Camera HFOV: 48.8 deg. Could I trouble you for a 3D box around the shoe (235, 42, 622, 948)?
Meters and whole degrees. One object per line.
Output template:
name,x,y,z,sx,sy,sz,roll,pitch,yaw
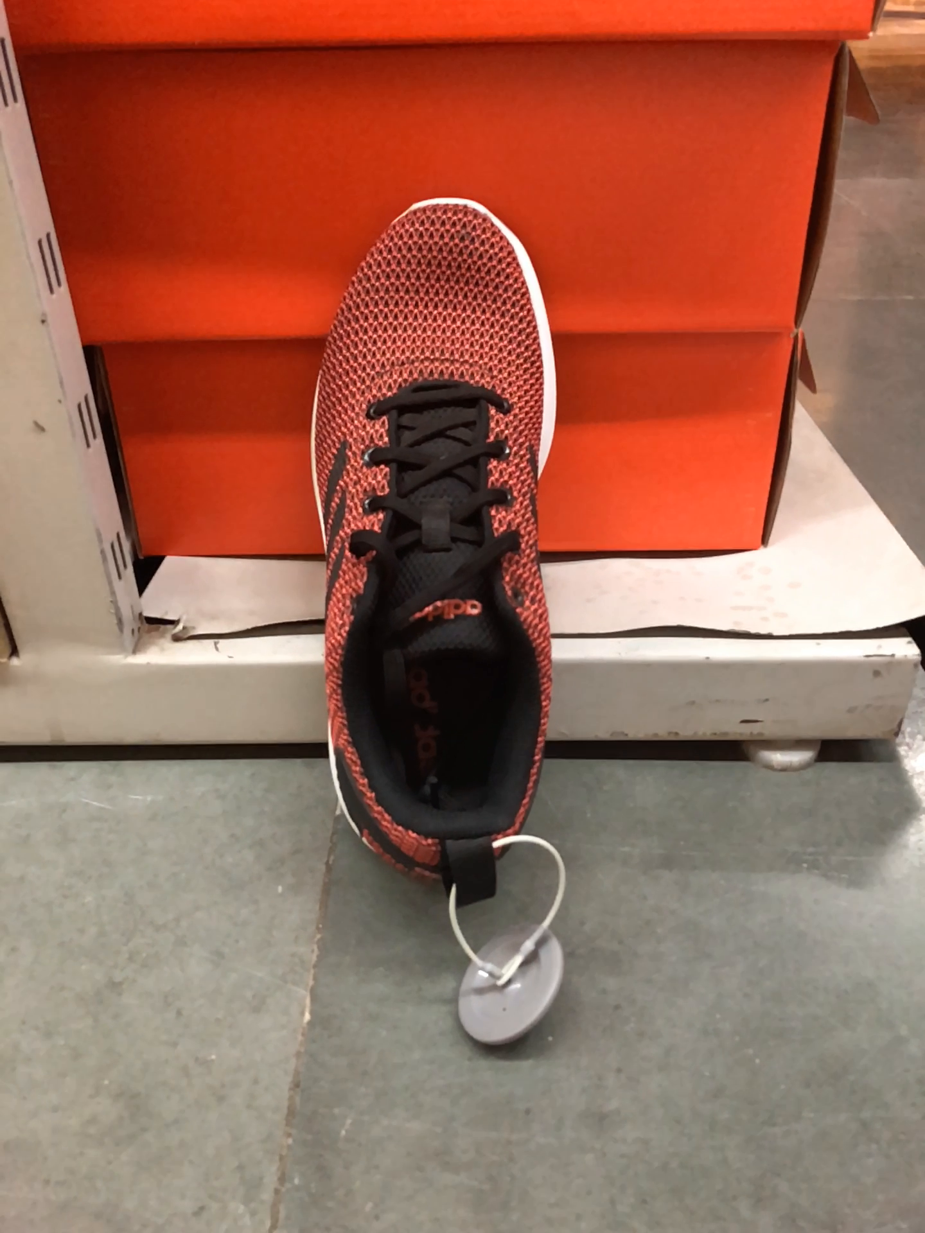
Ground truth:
shoe,-0.010,-0.037,0.373,0.110,0.272,0.132,1,-2,-1
